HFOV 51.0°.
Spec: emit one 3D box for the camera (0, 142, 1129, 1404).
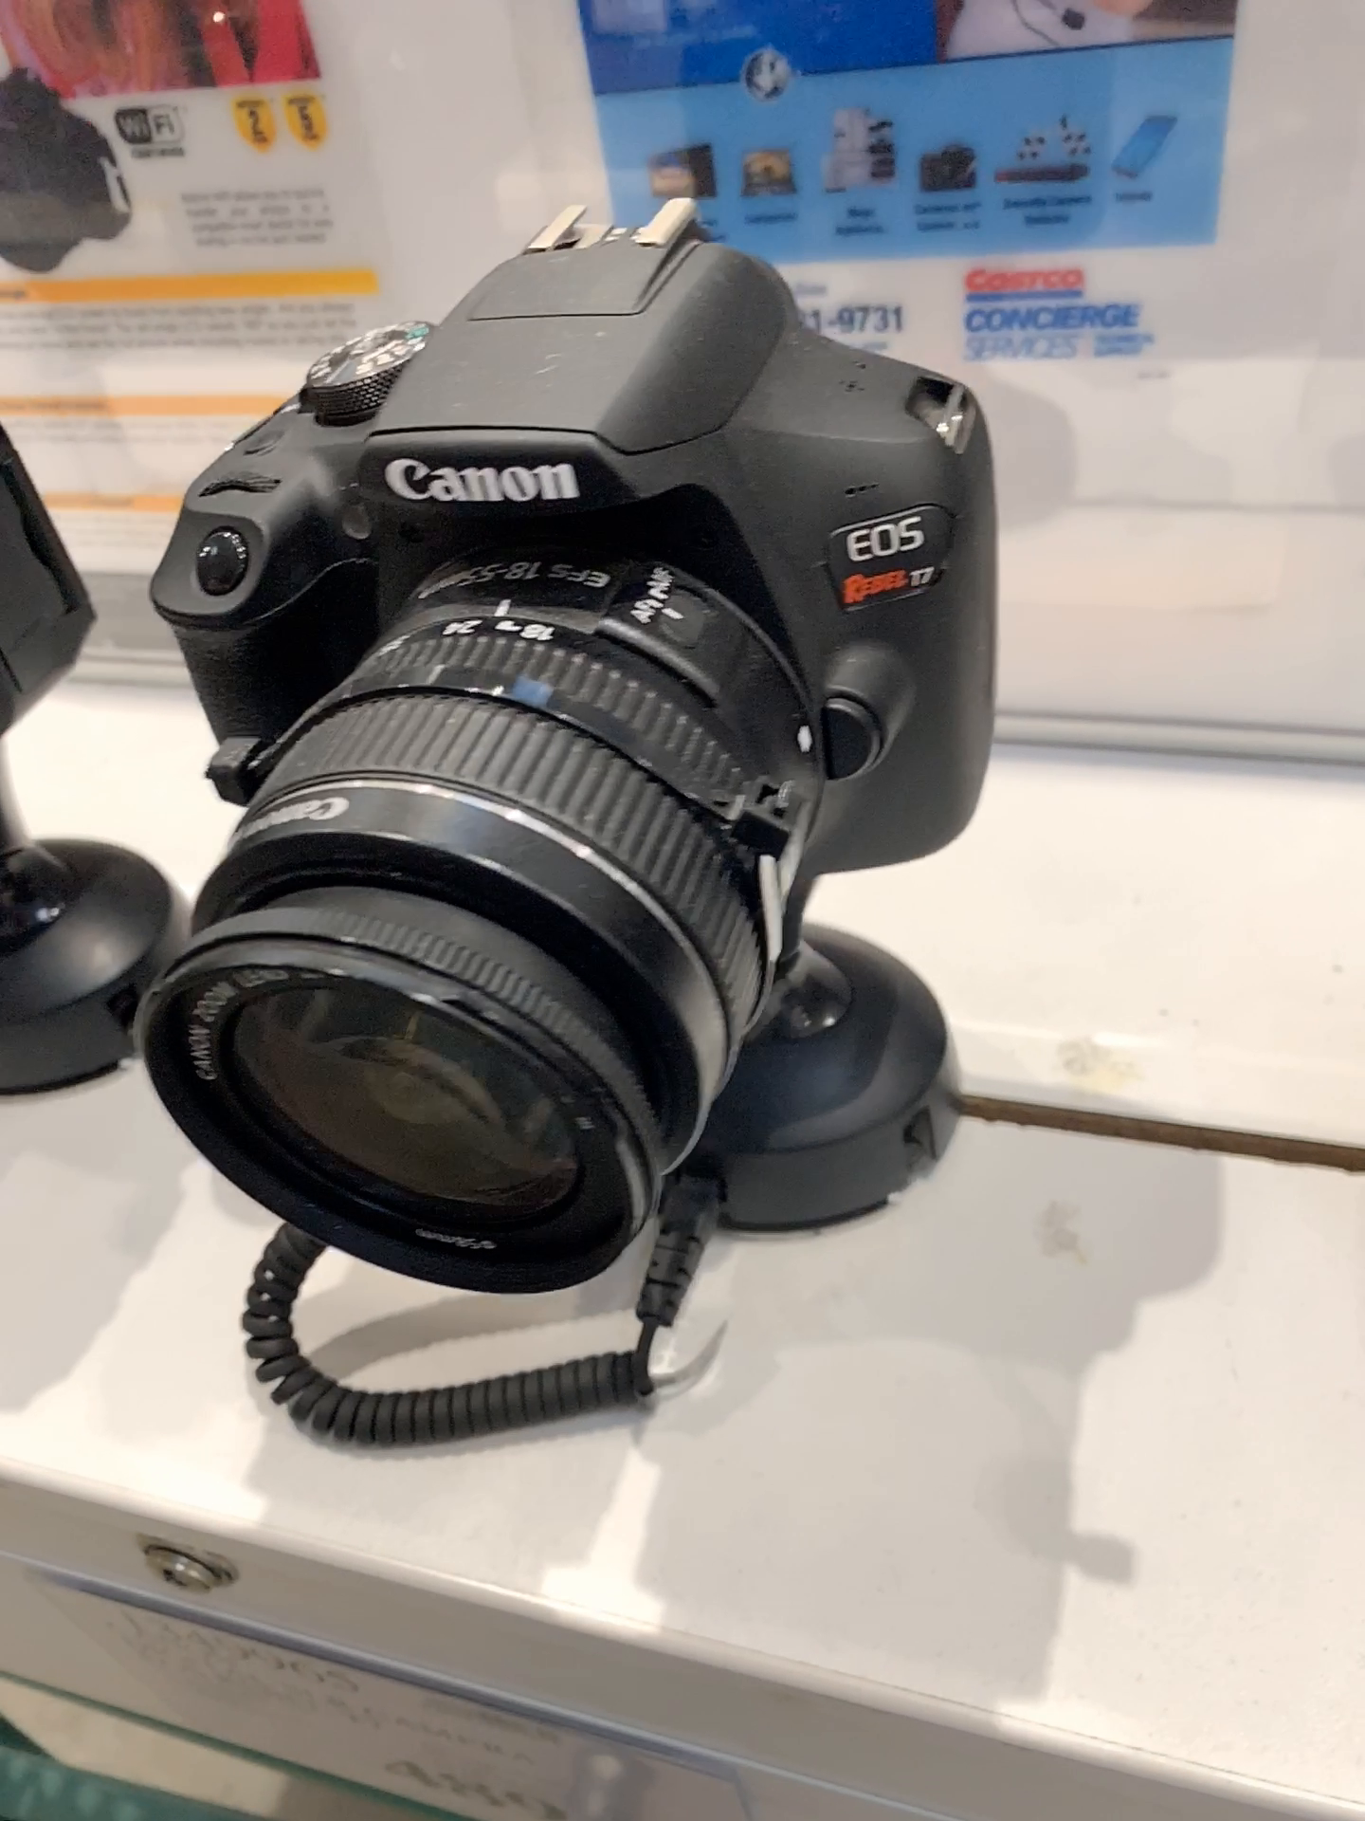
[{"bbox_3d":[-0.014,-0.032,0.196,0.130,0.089,0.141,6,44,17],"label":"camera"}]
